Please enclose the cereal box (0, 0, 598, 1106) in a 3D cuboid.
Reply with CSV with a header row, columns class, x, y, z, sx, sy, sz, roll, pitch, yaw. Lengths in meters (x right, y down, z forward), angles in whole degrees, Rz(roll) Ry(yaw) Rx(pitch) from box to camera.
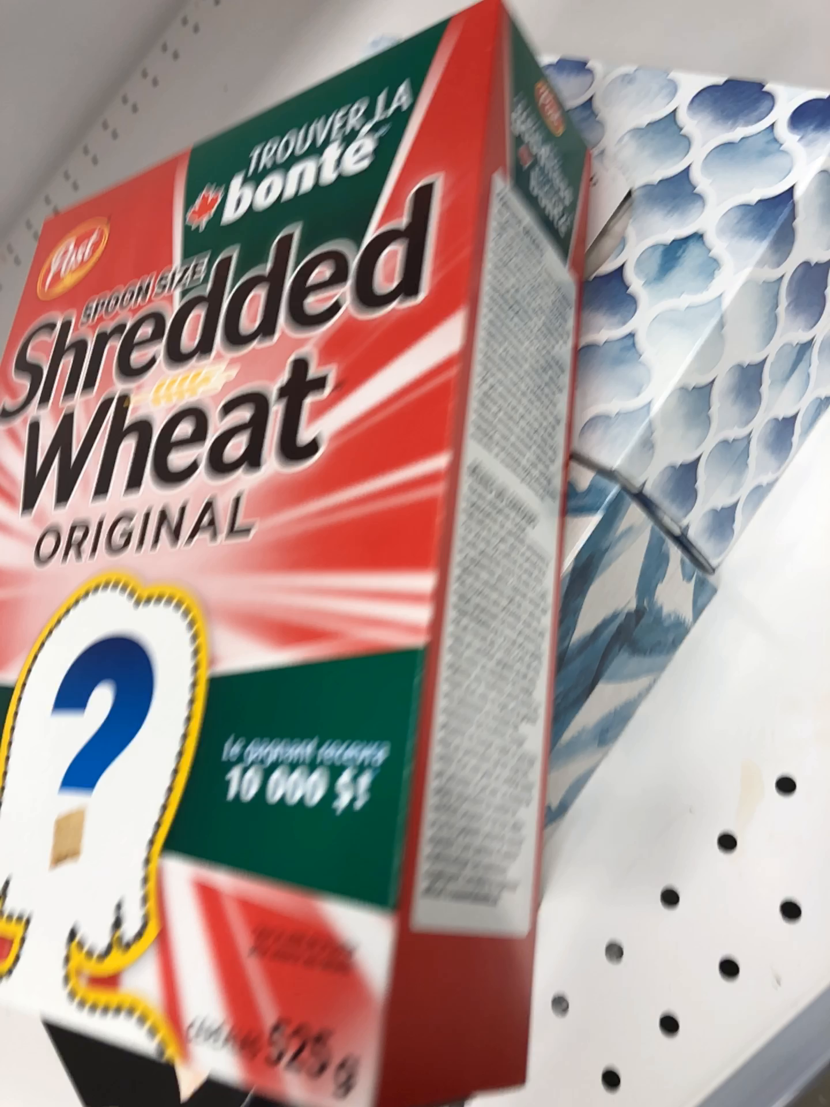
class,x,y,z,sx,sy,sz,roll,pitch,yaw
cereal box,-0.072,-0.014,0.271,0.231,0.060,0.280,-8,65,35
